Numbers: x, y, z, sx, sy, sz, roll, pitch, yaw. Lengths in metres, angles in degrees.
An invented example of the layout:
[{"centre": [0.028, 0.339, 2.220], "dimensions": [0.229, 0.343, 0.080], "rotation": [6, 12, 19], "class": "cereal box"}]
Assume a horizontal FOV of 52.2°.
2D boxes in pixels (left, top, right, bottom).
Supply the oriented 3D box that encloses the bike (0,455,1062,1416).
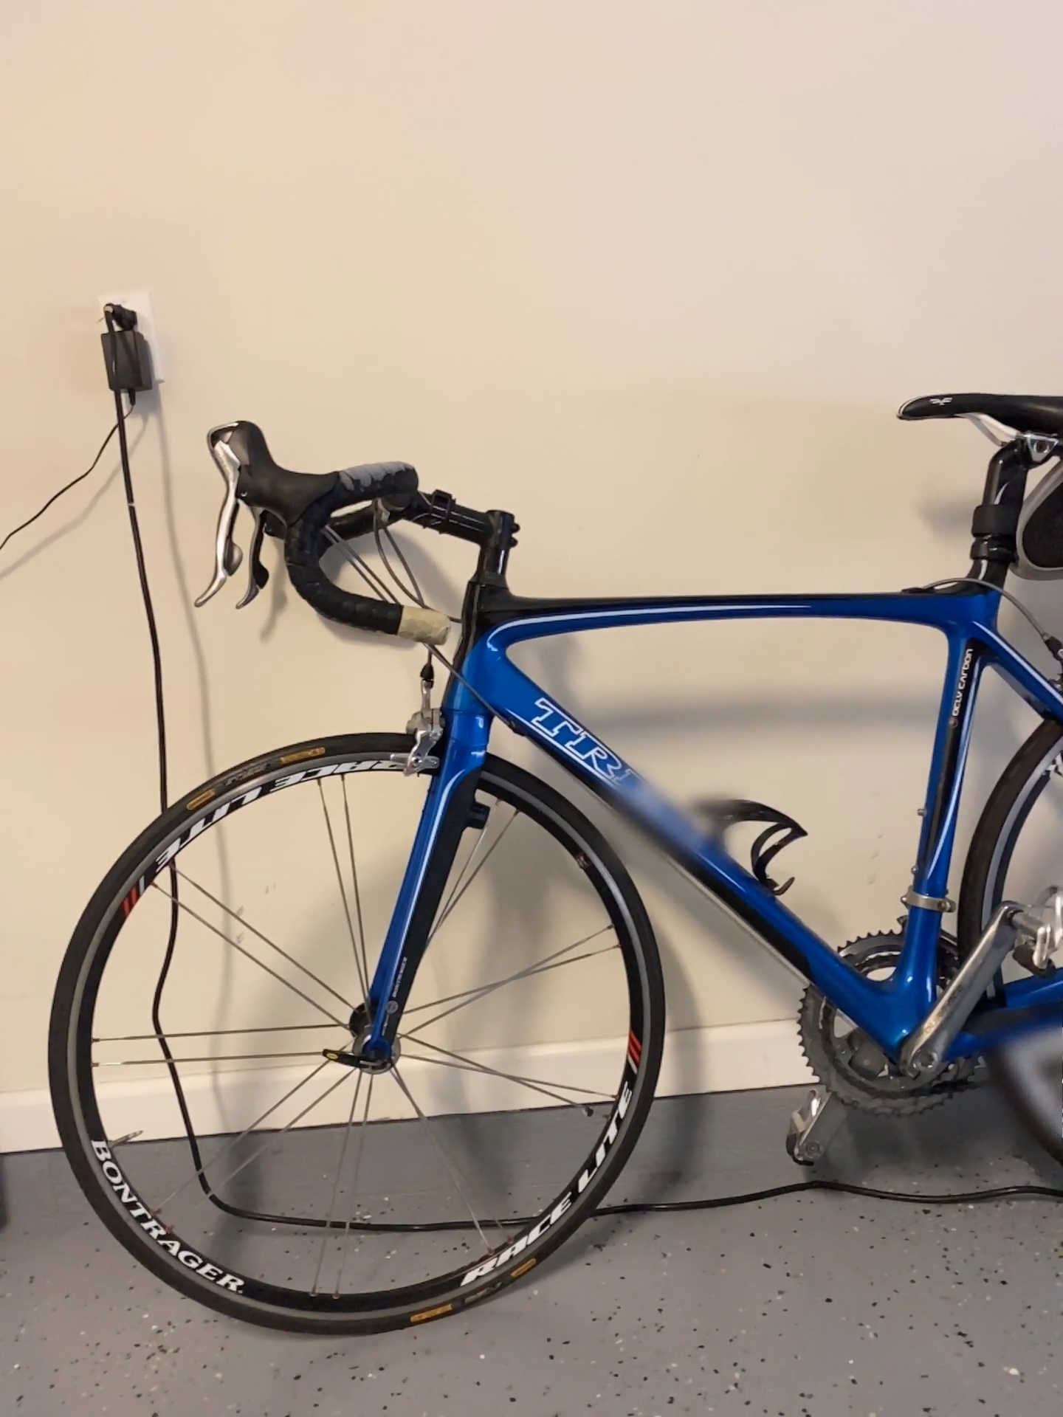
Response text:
[{"centre": [0.376, 0.220, 1.086], "dimensions": [1.638, 0.884, 0.401], "rotation": [-3, 6, -8], "class": "bike"}]
